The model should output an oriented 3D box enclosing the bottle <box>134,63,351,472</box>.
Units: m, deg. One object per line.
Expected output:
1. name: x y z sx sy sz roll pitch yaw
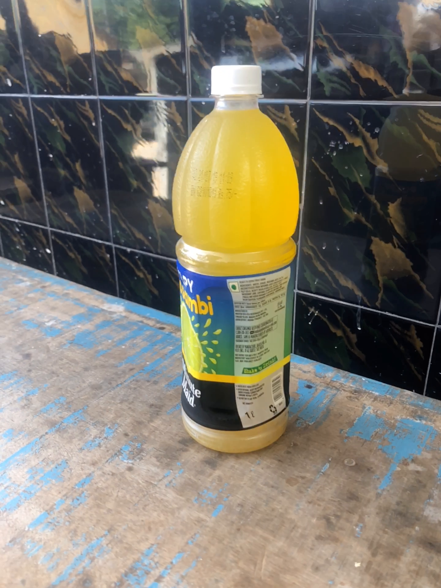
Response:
1. bottle: 0.010 -0.019 0.335 0.100 0.249 0.090 -9 24 -18
